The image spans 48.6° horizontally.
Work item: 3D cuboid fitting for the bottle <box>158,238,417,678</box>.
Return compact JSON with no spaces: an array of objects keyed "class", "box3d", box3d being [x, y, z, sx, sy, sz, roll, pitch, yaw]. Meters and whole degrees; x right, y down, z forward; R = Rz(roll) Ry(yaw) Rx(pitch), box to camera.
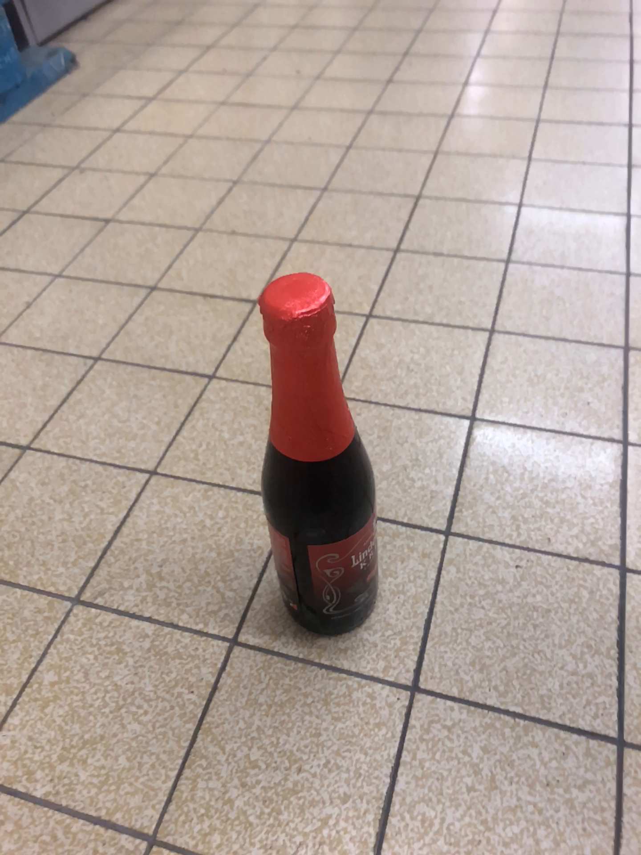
[{"class":"bottle","box3d":[-0.002,0.025,0.321,0.070,0.199,0.070,-3,45,3]}]
